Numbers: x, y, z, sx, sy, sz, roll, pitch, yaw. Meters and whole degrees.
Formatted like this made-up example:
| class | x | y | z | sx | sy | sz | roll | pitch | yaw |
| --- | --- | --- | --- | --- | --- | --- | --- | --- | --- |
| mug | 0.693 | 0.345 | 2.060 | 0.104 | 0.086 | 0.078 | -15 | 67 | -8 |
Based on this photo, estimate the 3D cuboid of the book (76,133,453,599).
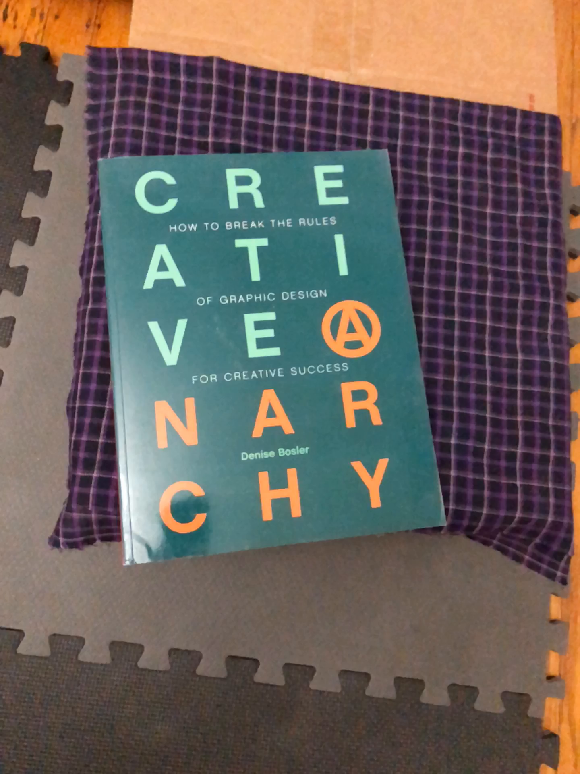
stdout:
| class | x | y | z | sx | sy | sz | roll | pitch | yaw |
| --- | --- | --- | --- | --- | --- | --- | --- | --- | --- |
| book | -0.022 | -0.028 | 0.436 | 0.220 | 0.020 | 0.300 | -5 | 79 | -8 |
